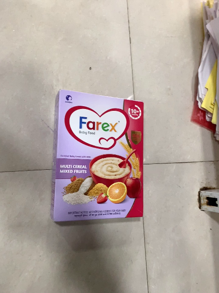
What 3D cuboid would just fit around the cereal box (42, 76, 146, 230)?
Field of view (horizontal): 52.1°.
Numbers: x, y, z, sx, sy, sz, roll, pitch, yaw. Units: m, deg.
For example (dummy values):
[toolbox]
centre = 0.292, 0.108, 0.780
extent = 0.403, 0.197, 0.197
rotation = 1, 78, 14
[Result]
[cereal box]
centre = -0.022, 0.012, 0.361
extent = 0.150, 0.060, 0.210
rotation = 4, 83, -22
